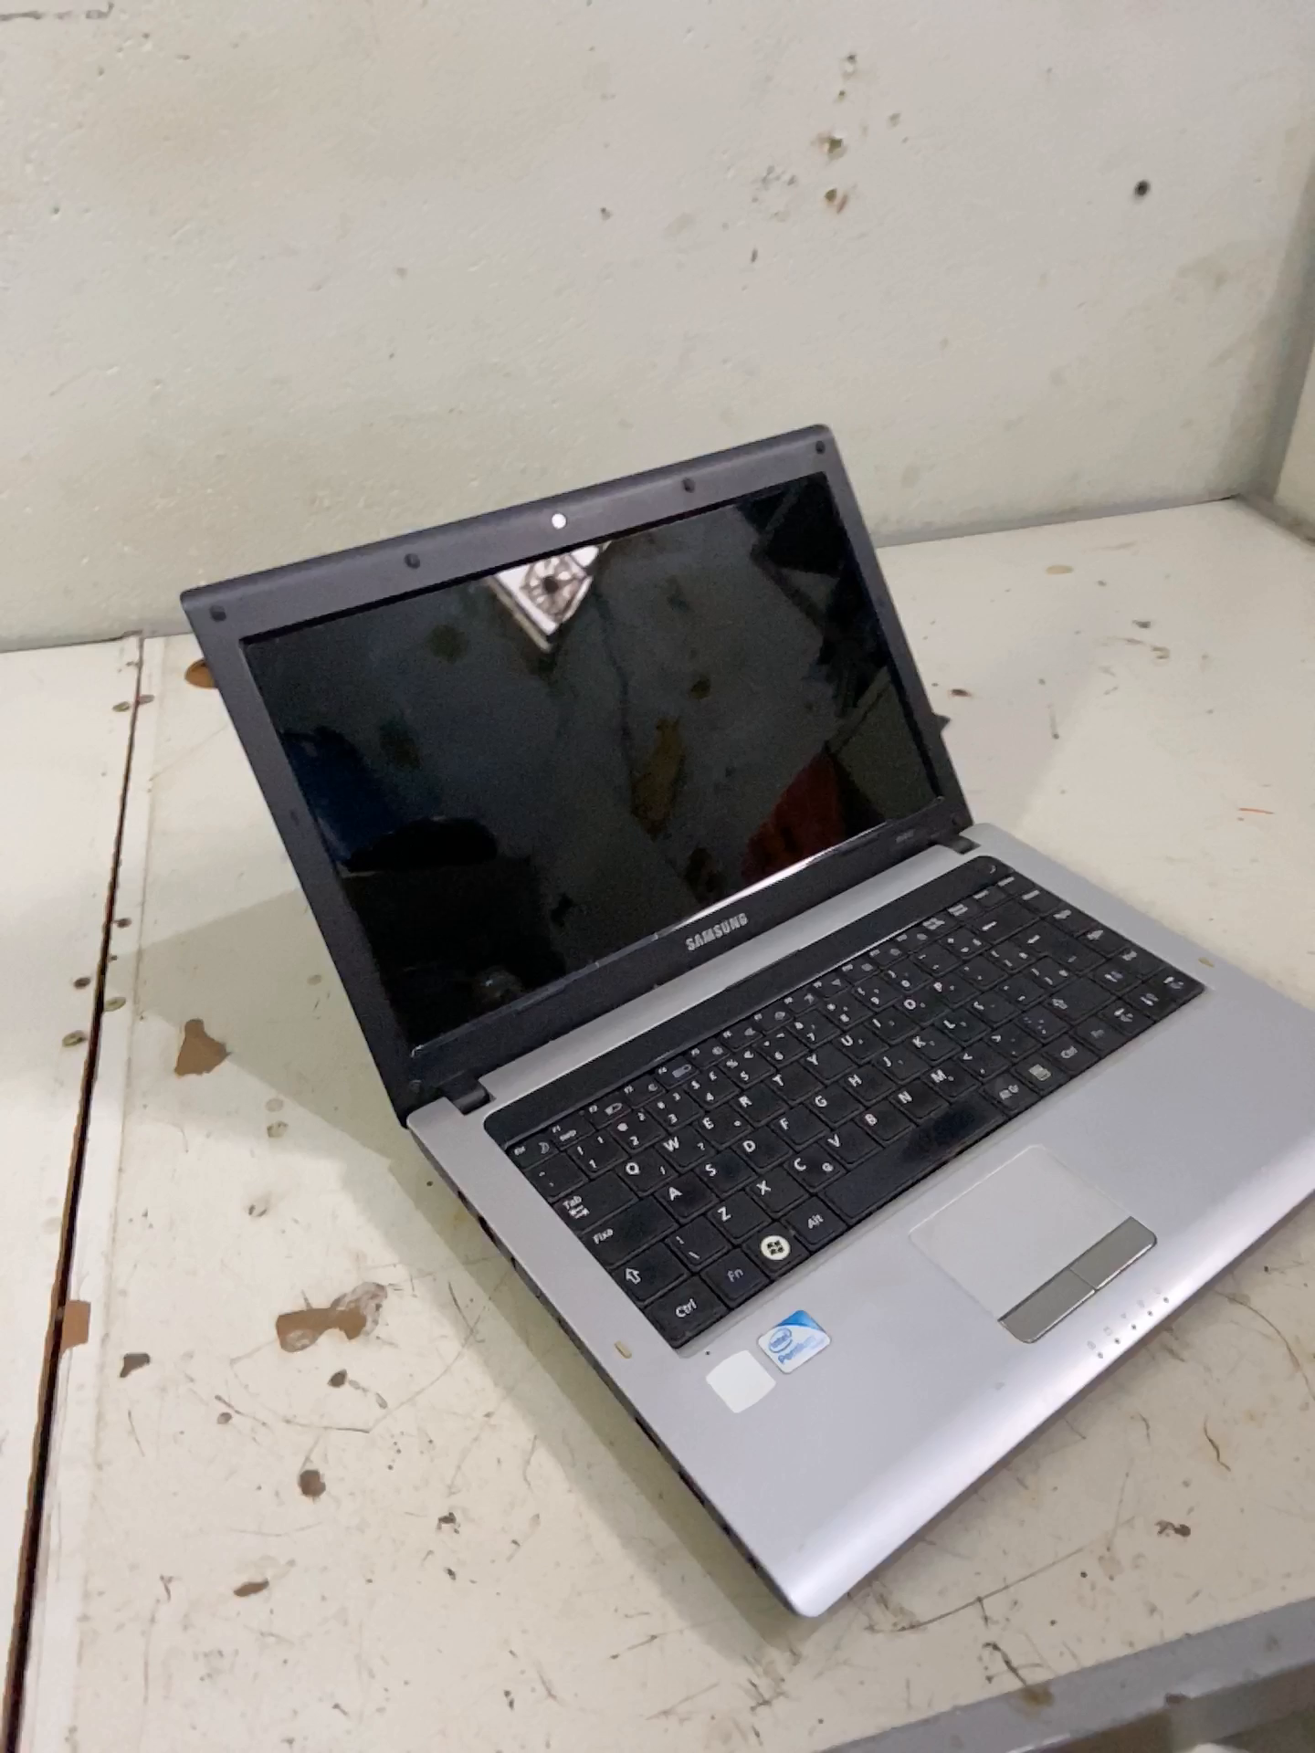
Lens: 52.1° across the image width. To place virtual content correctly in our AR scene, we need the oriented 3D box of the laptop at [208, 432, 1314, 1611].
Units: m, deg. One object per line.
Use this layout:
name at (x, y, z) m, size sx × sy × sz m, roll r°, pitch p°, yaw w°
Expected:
laptop at (0.070, -0.011, 0.524) m, size 0.335 × 0.172 × 0.363 m, roll -24°, pitch 41°, yaw -29°
